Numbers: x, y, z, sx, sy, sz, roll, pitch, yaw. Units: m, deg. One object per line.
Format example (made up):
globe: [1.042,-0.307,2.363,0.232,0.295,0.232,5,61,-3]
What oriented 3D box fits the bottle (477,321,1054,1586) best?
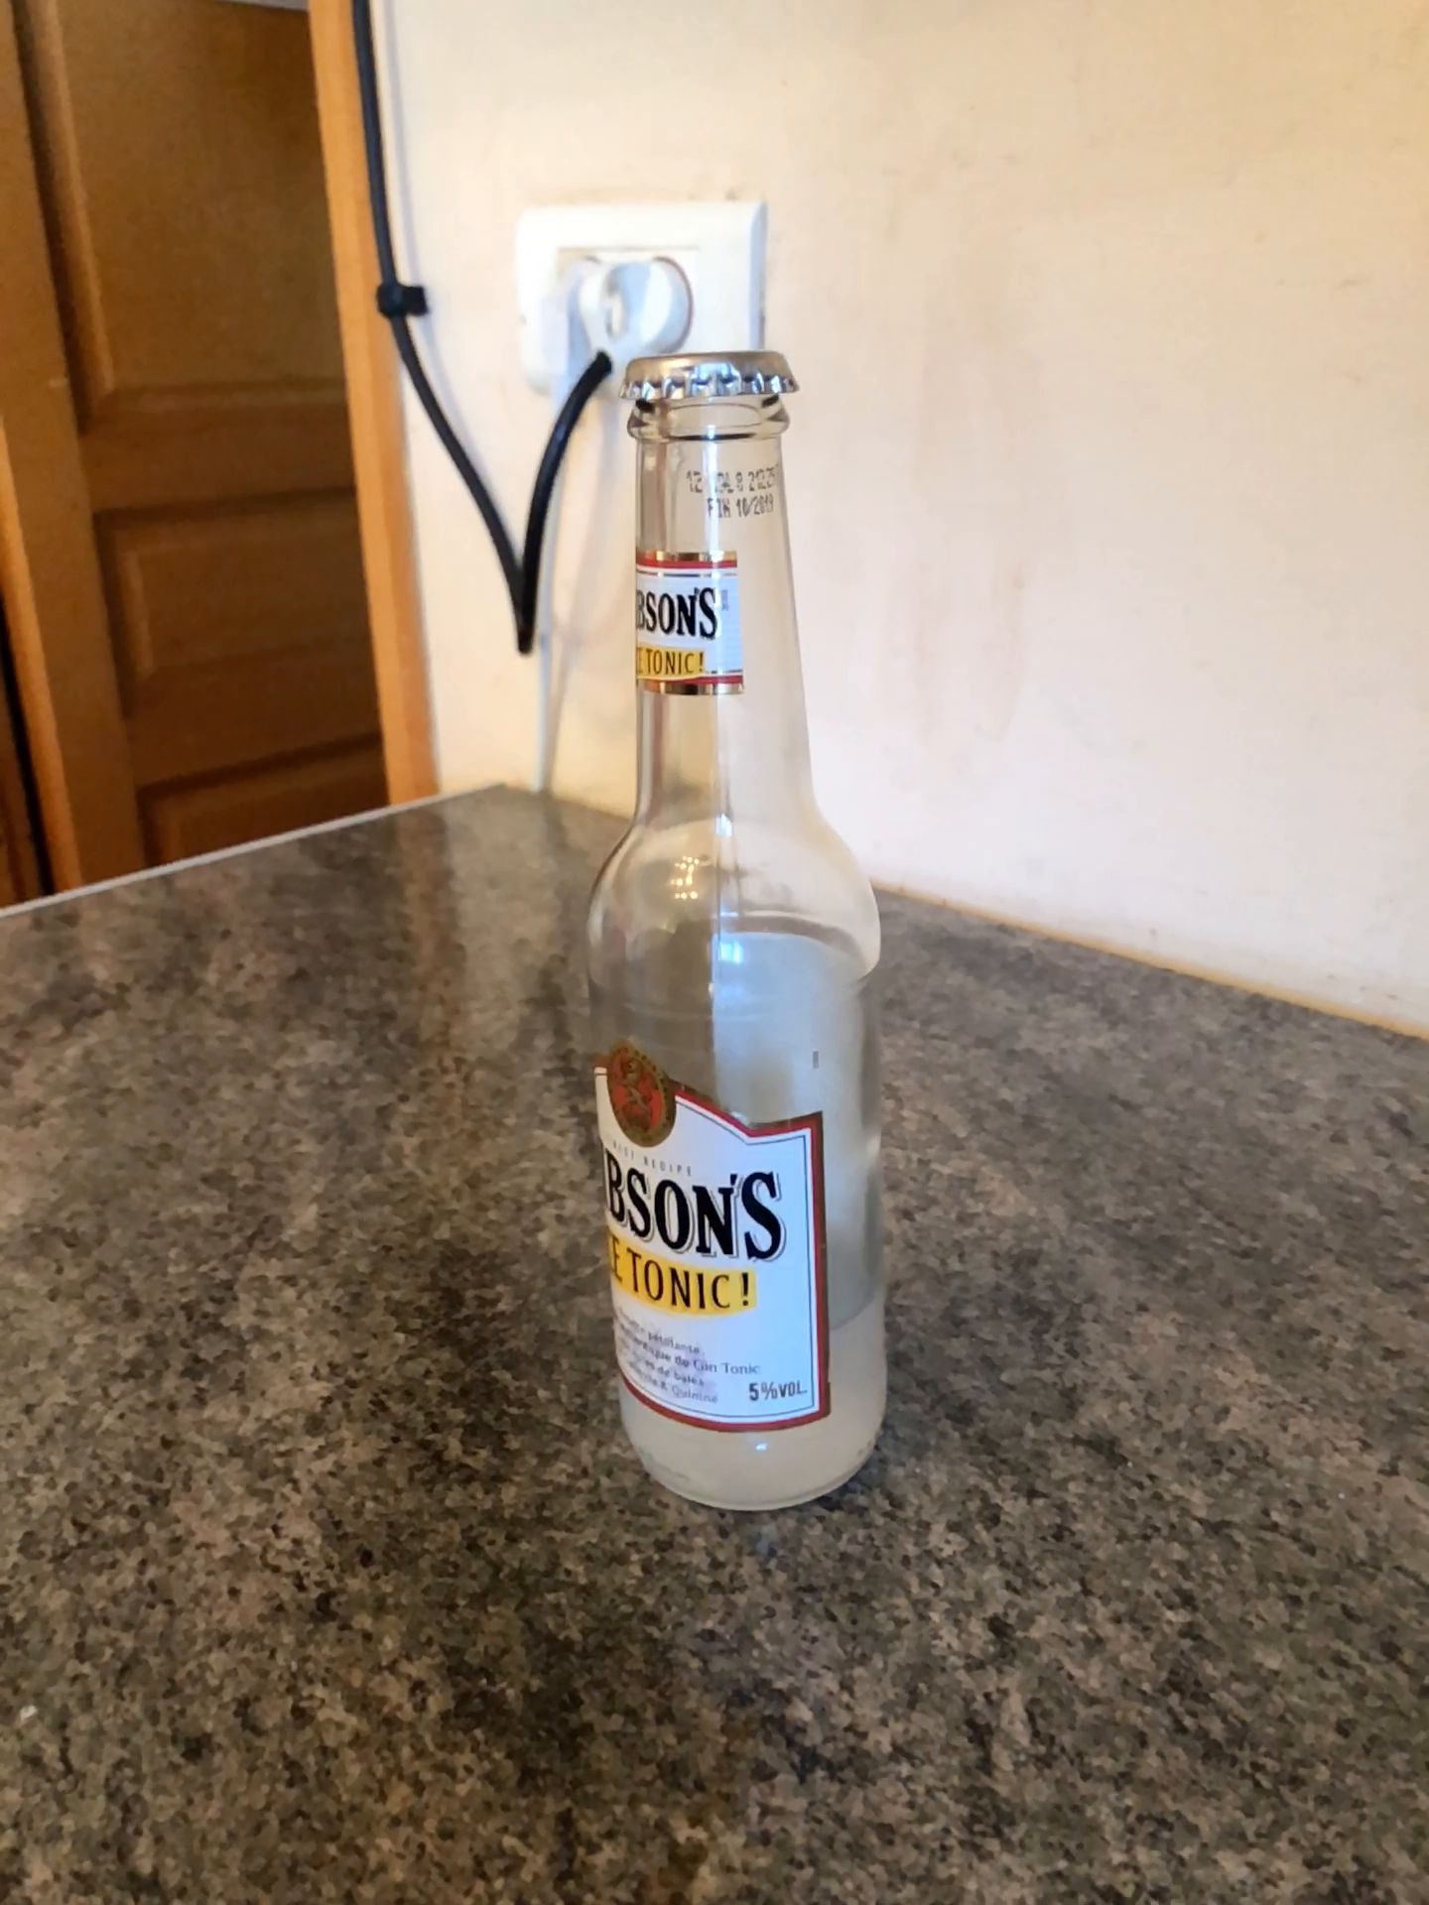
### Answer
bottle: [0.011,-0.002,0.289,0.070,0.209,0.060,16,27,40]
